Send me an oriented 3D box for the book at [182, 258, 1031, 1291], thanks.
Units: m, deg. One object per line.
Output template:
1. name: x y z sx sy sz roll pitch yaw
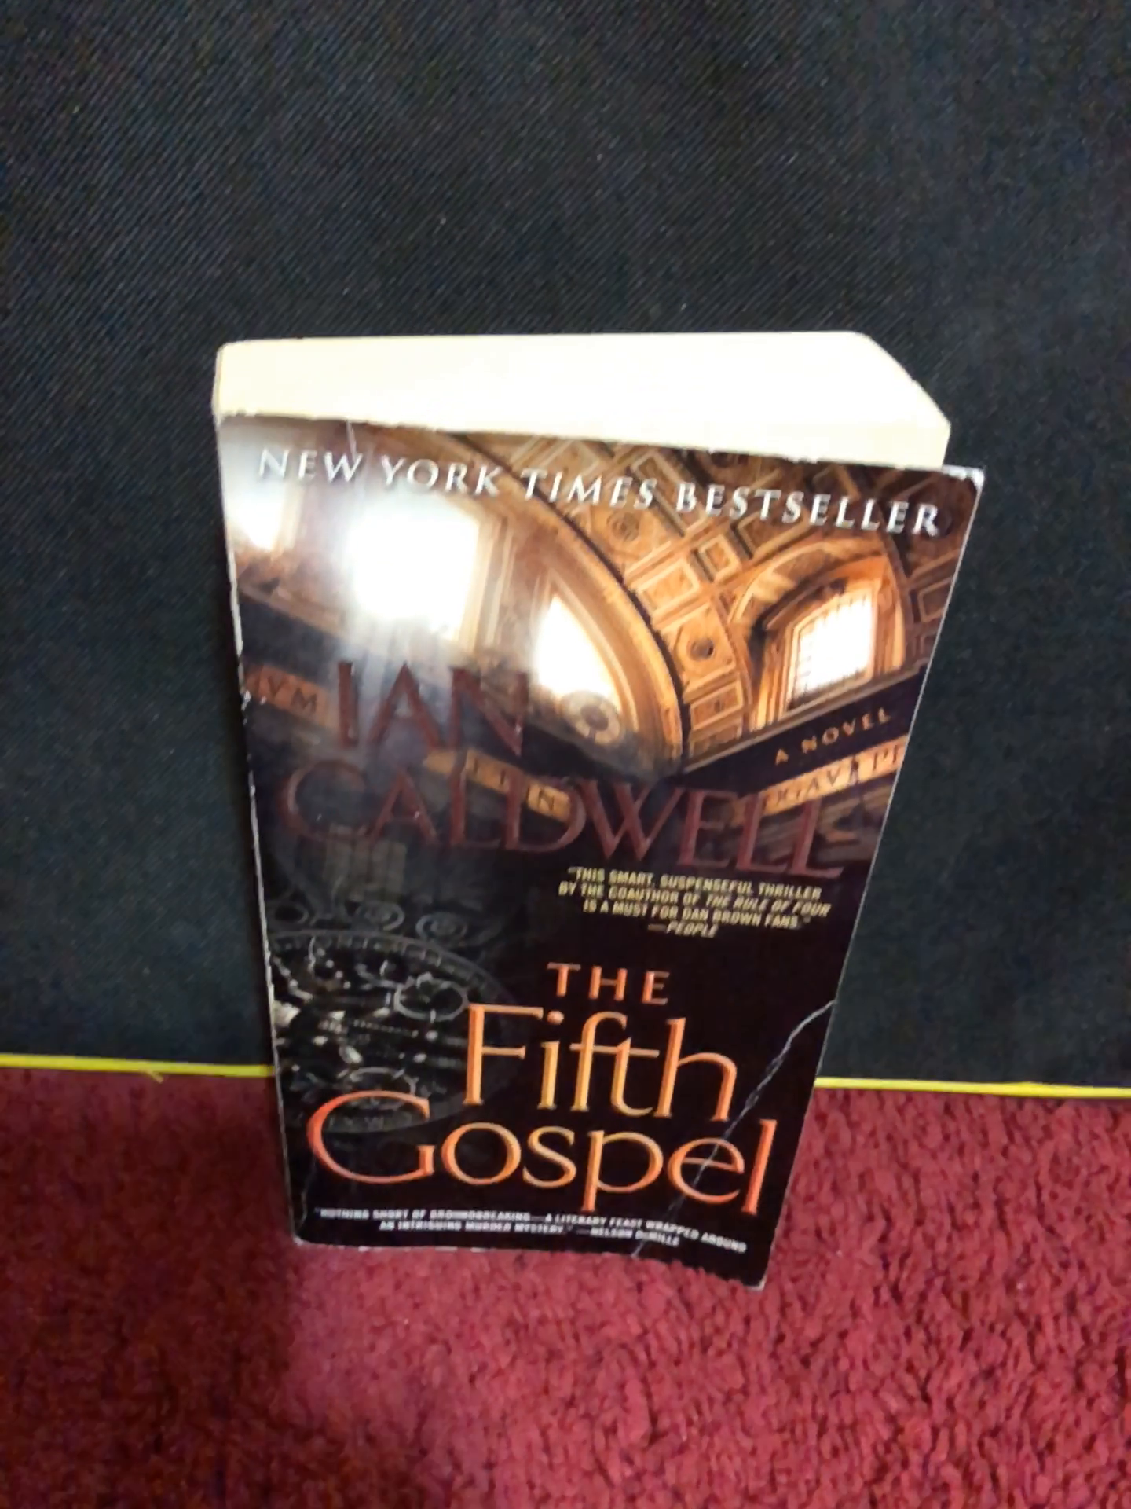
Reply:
1. book: 0.001 0.016 0.253 0.120 0.199 0.050 7 33 4
